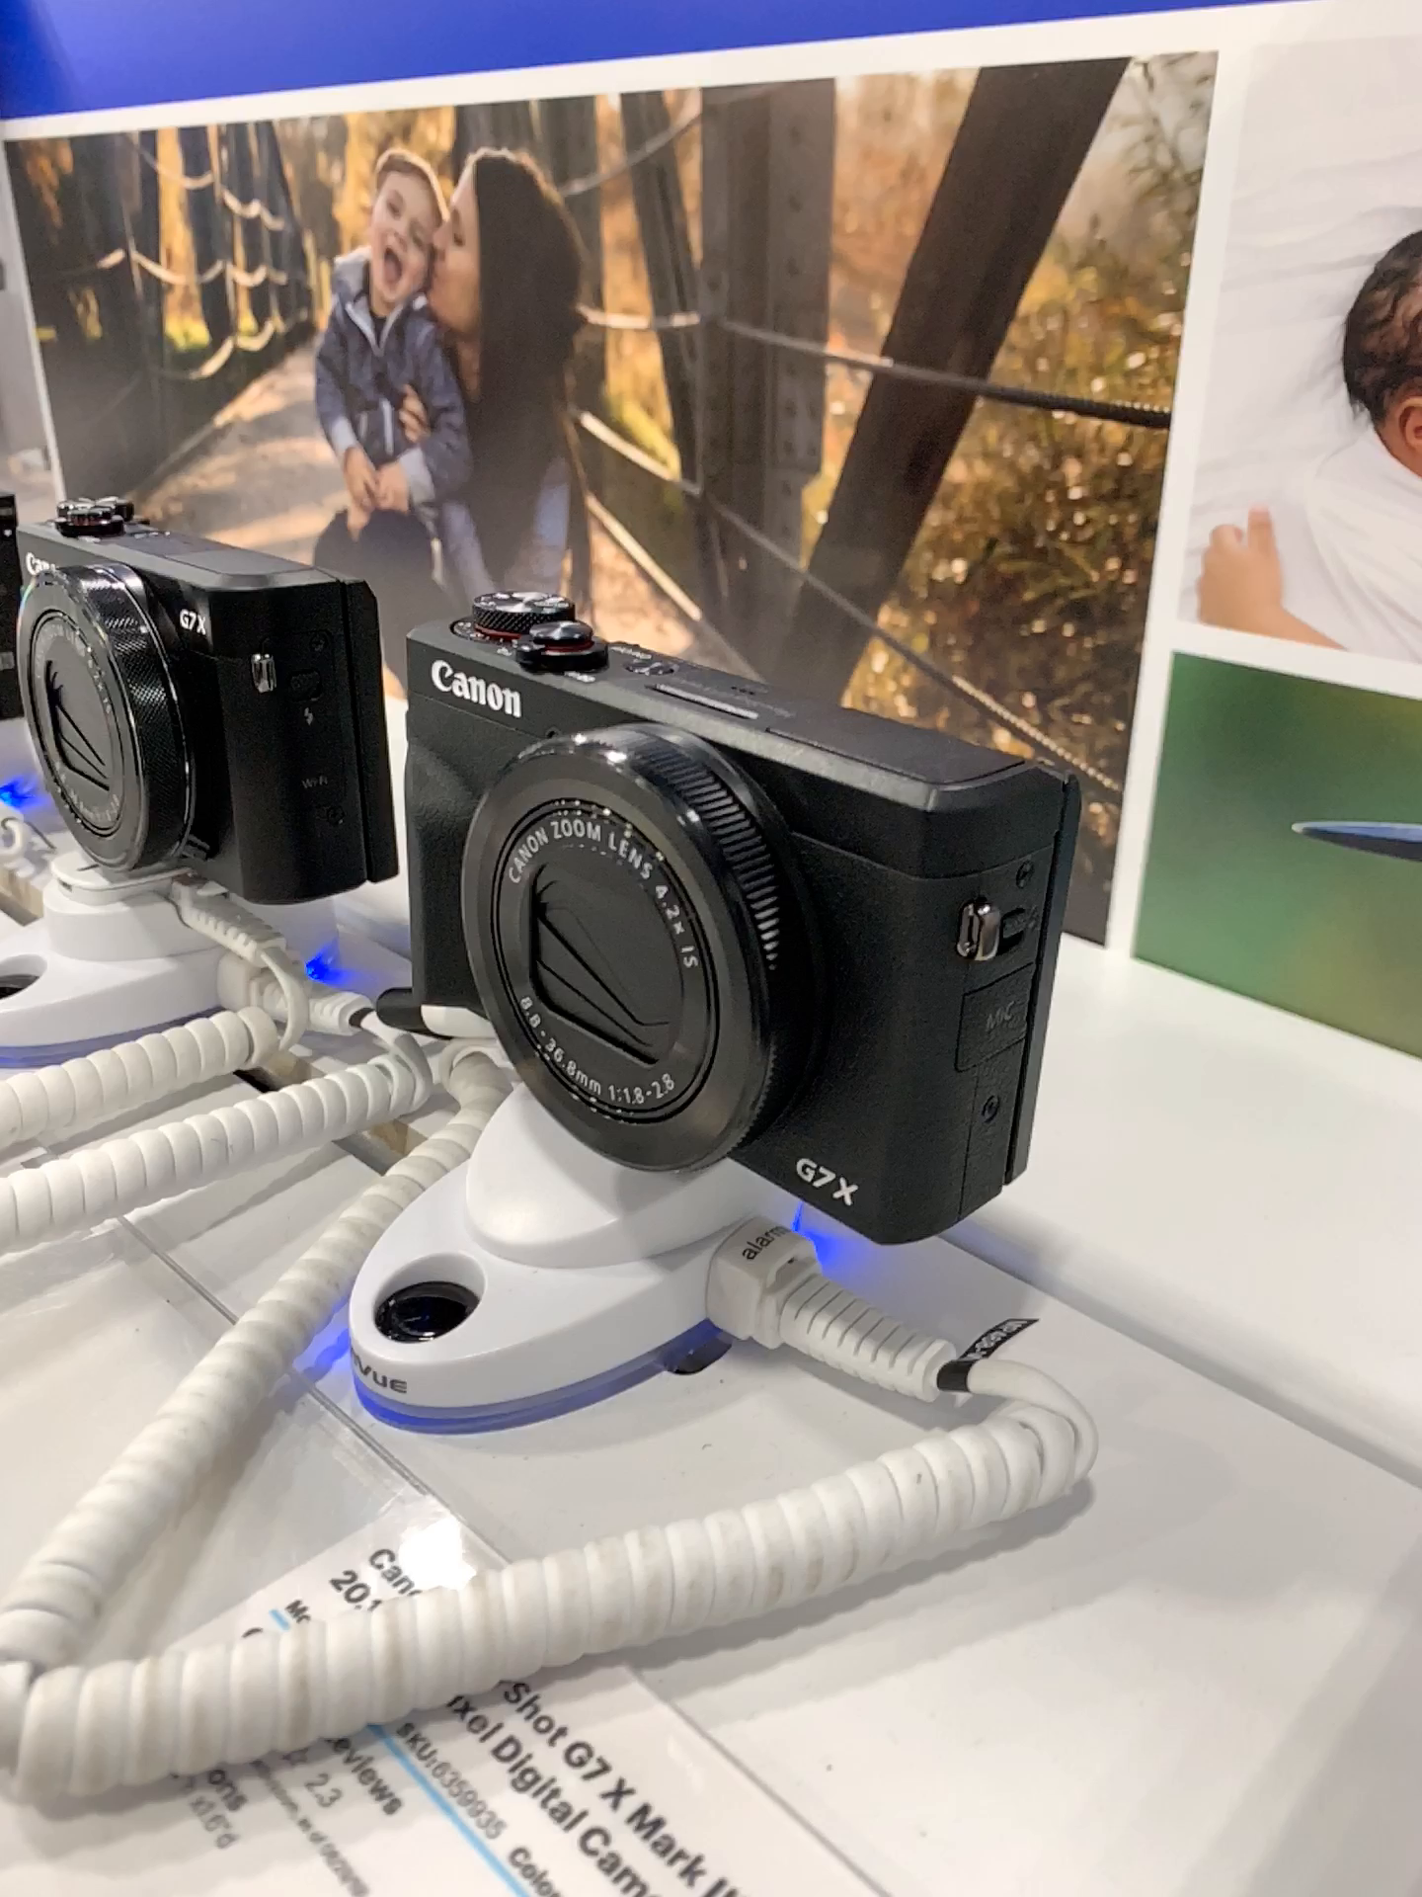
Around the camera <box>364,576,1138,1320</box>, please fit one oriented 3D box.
[{"bbox_3d":[-0.002,-0.009,0.217,0.040,0.070,0.110,-19,31,-40],"label":"camera"}]
